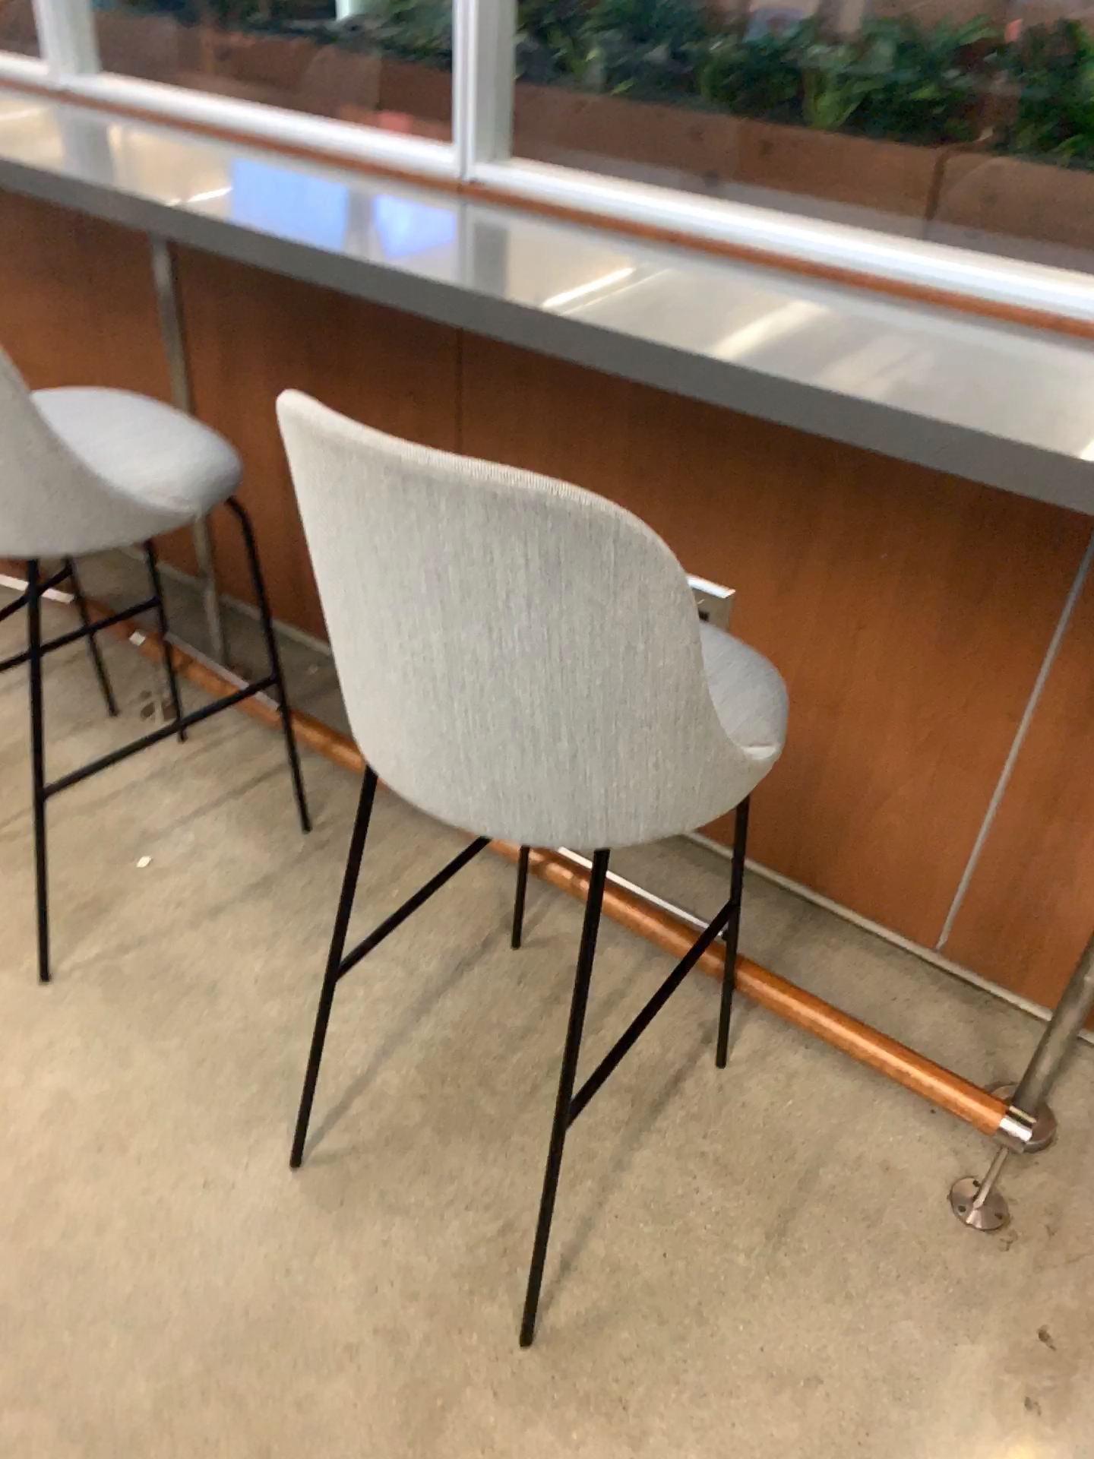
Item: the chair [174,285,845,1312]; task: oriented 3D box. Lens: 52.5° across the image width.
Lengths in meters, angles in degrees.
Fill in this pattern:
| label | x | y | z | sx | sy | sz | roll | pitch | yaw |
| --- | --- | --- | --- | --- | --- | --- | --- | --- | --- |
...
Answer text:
| label | x | y | z | sx | sy | sz | roll | pitch | yaw |
| --- | --- | --- | --- | --- | --- | --- | --- | --- | --- |
| chair | -0.033 | 0.101 | 1.318 | 0.411 | 1.034 | 0.512 | 21 | 39 | 21 |
